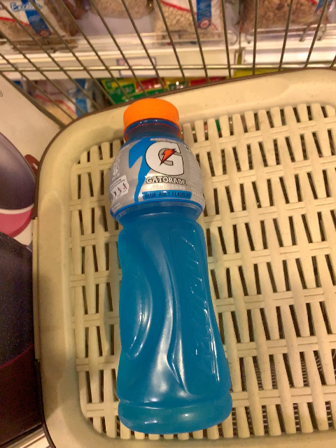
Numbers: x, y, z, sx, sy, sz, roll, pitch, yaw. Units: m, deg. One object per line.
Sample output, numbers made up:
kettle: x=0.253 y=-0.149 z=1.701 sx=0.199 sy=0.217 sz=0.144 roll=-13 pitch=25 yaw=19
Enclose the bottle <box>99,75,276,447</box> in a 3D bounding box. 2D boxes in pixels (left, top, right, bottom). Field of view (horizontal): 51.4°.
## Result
bottle: x=0.002 y=0.015 z=0.226 sx=0.080 sy=0.060 sz=0.210 roll=-3 pitch=76 yaw=-8
